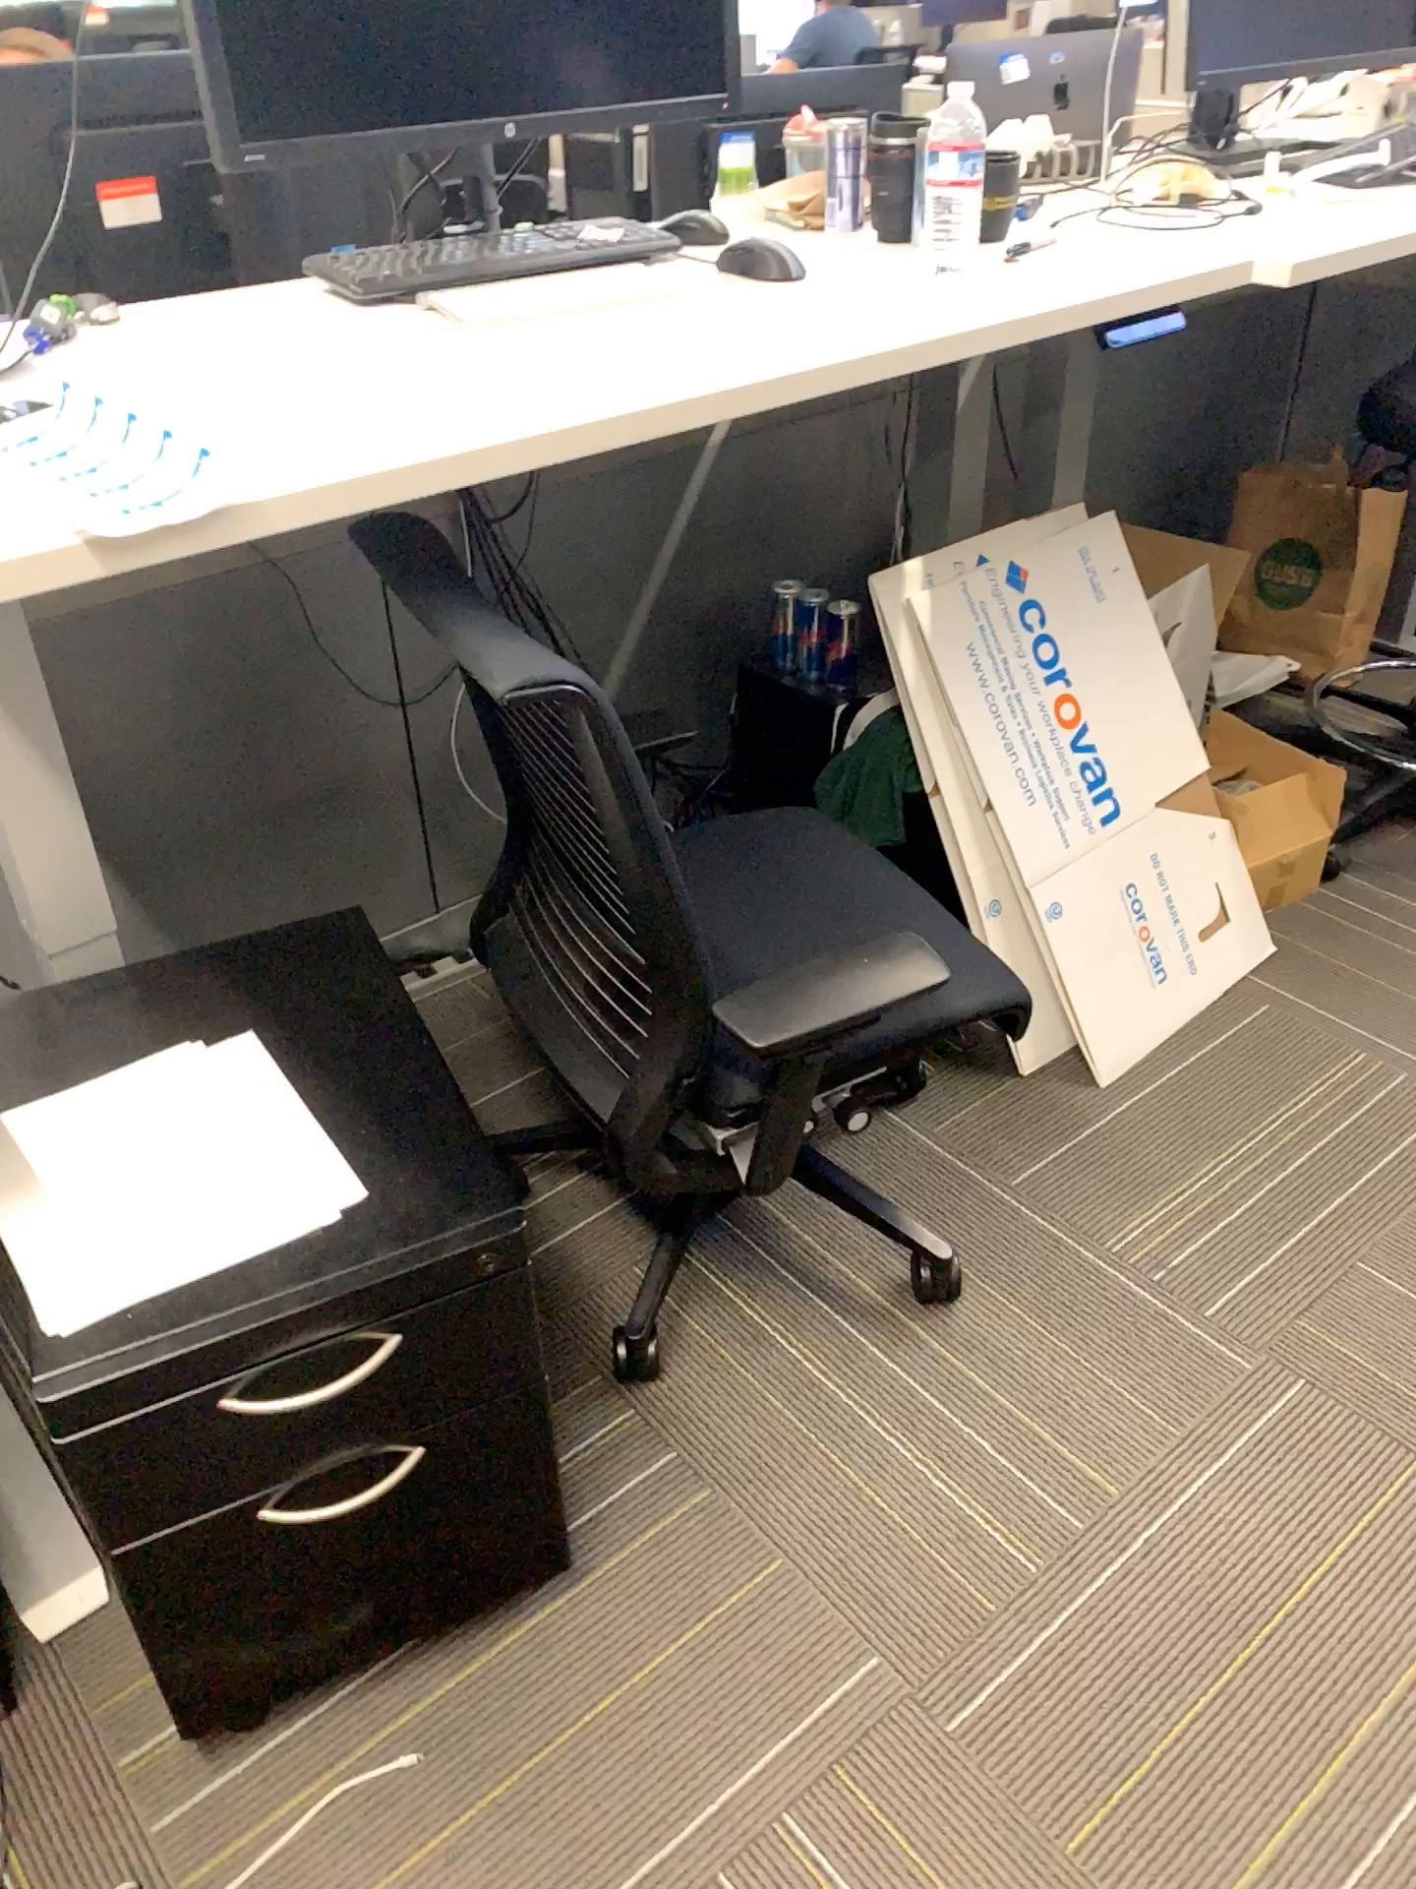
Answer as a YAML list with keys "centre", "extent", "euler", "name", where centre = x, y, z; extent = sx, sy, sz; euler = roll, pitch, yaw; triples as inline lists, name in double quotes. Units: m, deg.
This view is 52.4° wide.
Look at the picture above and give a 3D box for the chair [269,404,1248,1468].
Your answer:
- centre: [0.000, -0.077, 1.690]
  extent: [0.720, 0.805, 0.785]
  euler: [-16, 37, -19]
  name: "chair"
